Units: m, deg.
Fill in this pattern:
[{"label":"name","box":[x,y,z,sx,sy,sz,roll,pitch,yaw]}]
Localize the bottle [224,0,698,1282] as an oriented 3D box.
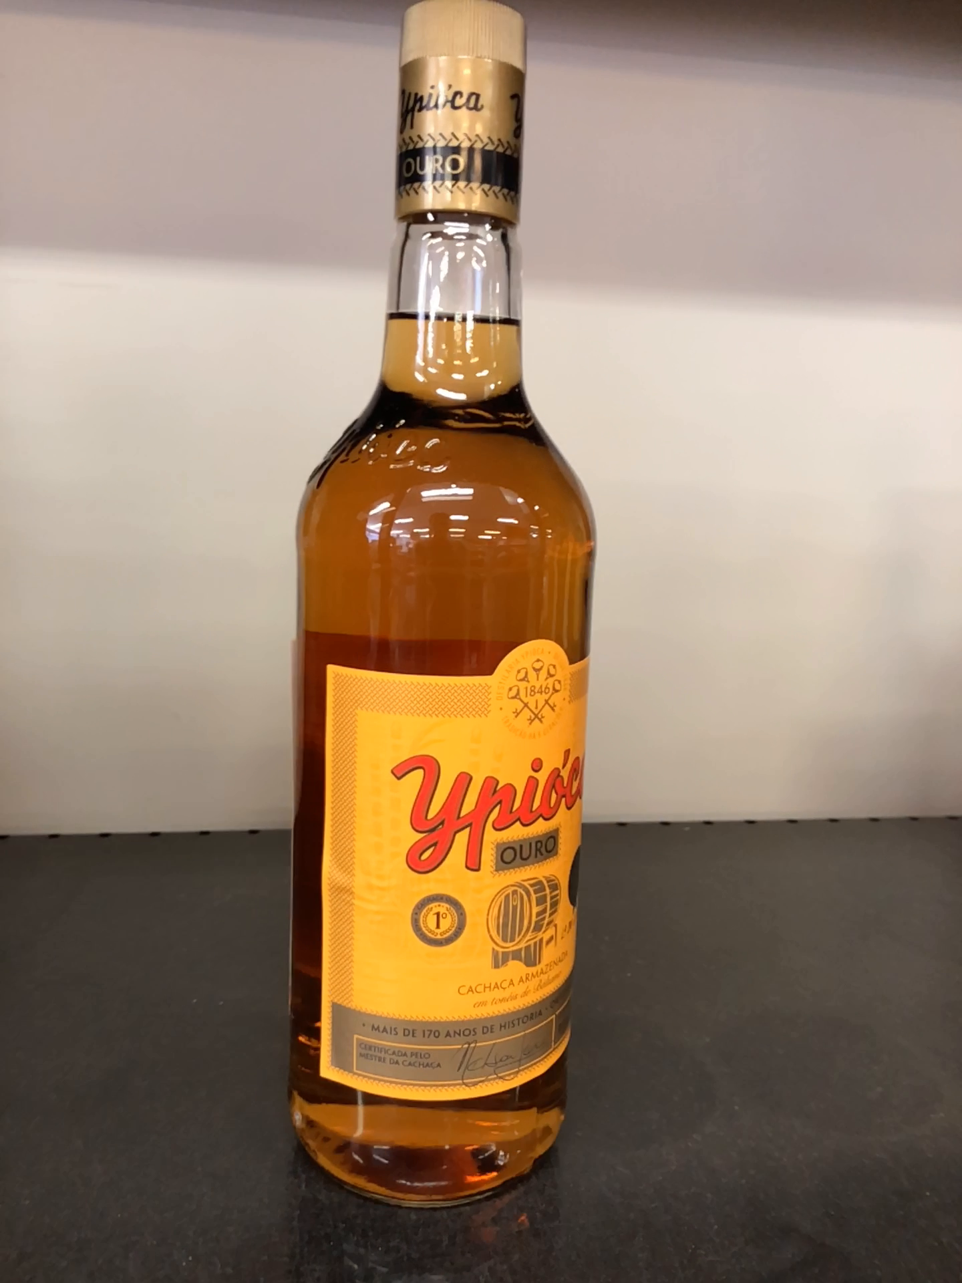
[{"label":"bottle","box":[-0.013,-0.005,0.277,0.080,0.309,0.070,-5,14,-36]}]
